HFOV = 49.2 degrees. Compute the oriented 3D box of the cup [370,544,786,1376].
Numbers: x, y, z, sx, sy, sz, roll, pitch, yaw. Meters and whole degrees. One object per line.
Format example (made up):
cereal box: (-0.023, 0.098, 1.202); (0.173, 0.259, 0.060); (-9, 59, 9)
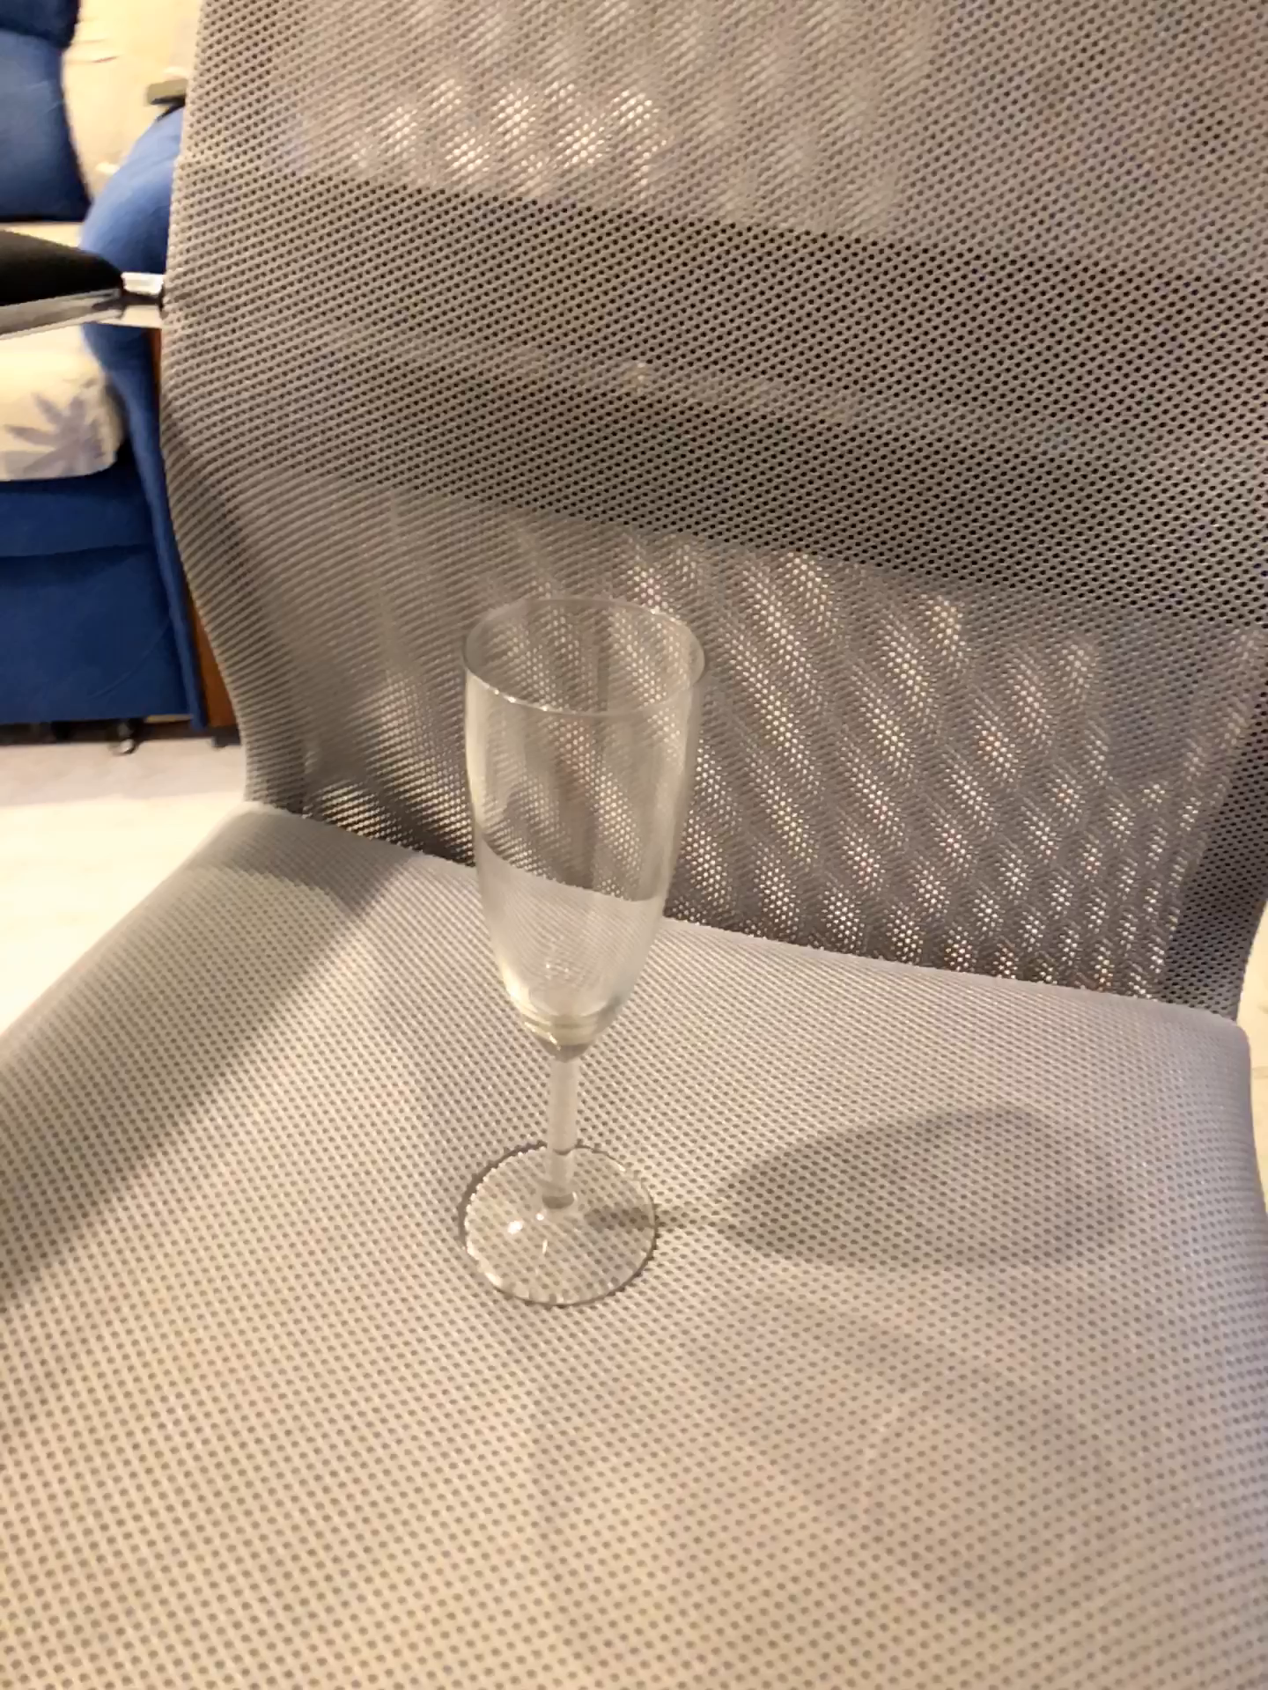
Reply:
cup: (-0.015, 0.041, 0.400); (0.074, 0.228, 0.075); (2, 36, -1)
